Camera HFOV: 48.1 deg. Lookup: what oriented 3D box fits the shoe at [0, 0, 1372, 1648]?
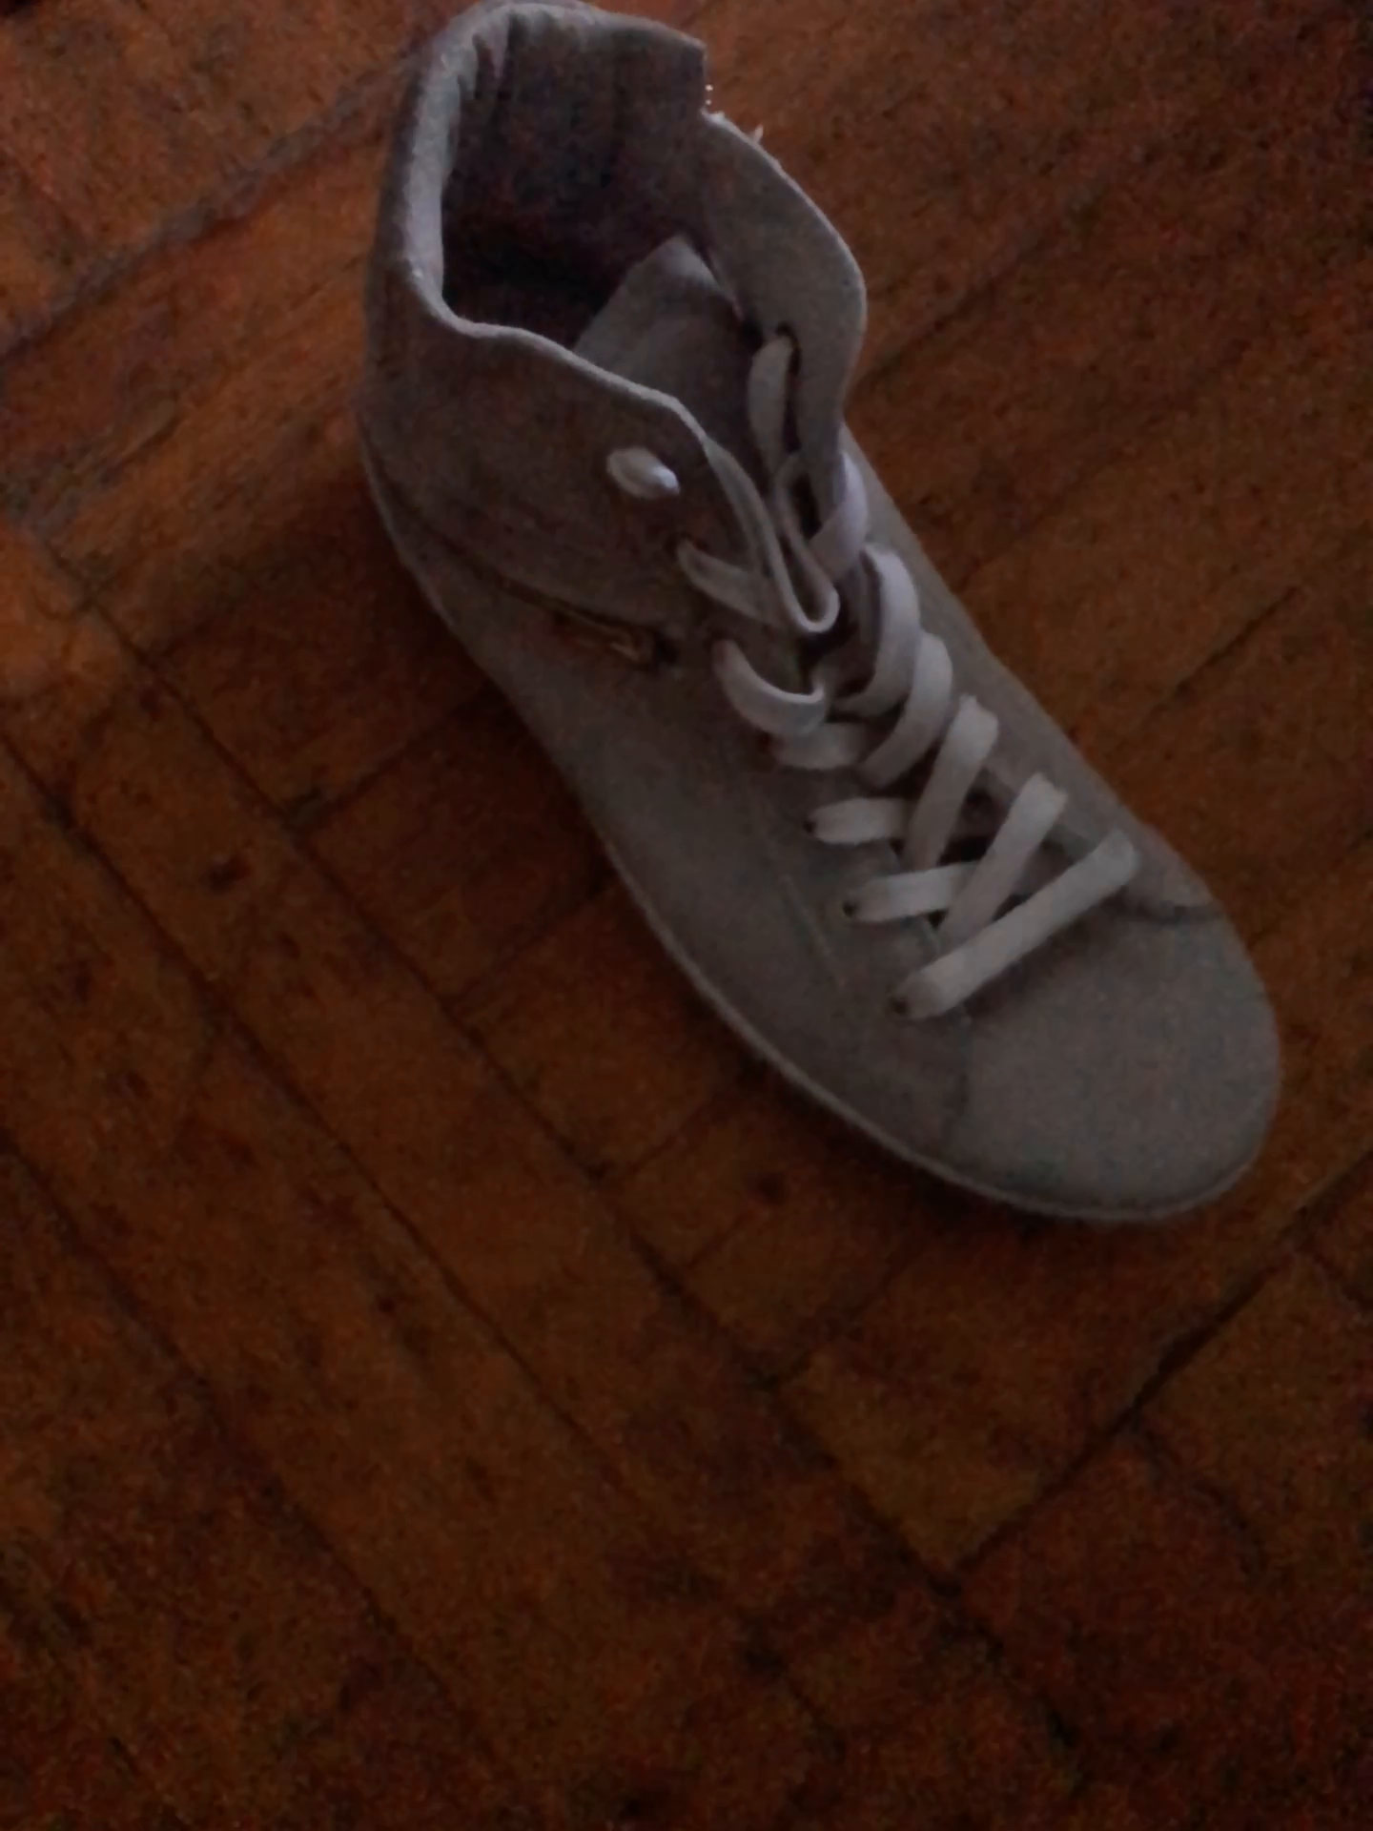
[{"bbox_3d":[0.034,-0.042,0.347,0.130,0.220,0.310,-37,80,-3],"label":"shoe"}]
